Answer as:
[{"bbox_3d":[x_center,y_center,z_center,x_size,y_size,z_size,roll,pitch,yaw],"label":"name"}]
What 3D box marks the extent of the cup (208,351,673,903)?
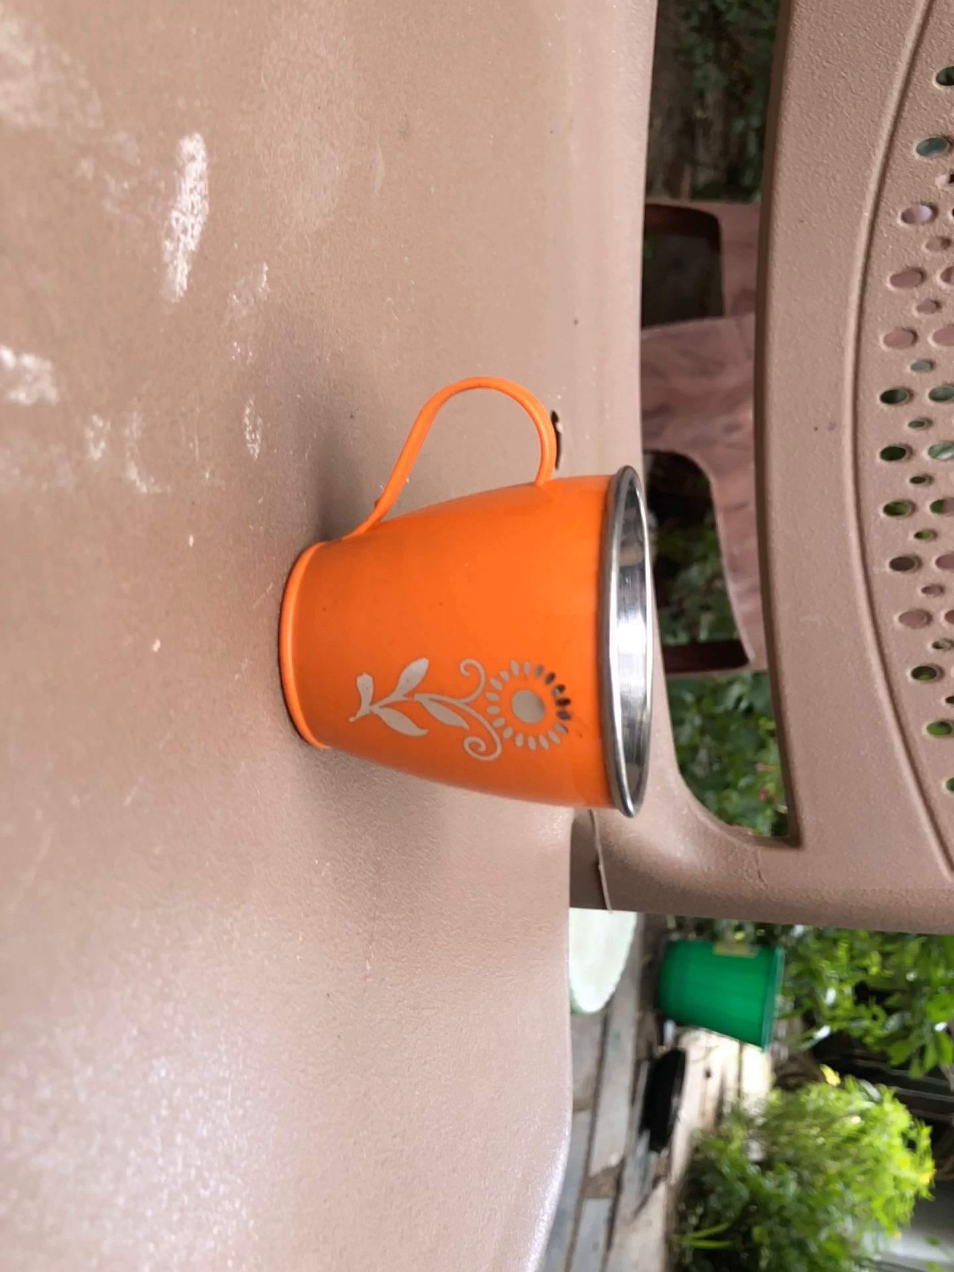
[{"bbox_3d":[0.000,-0.004,0.191,0.050,0.060,0.080,-54,142,-57],"label":"cup"}]
